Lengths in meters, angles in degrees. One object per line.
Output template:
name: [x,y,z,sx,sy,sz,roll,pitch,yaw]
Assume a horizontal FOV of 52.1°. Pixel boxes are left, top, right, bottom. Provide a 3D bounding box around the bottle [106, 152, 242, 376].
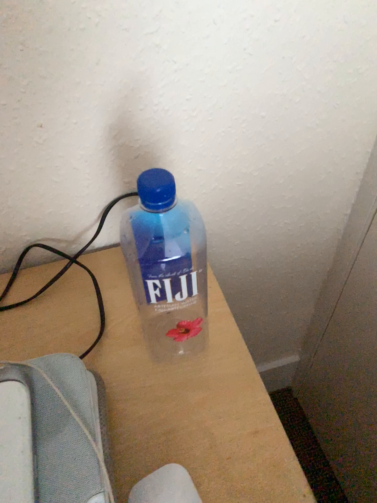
bottle: [-0.013,0.023,0.374,0.090,0.208,0.081,-12,46,-10]
